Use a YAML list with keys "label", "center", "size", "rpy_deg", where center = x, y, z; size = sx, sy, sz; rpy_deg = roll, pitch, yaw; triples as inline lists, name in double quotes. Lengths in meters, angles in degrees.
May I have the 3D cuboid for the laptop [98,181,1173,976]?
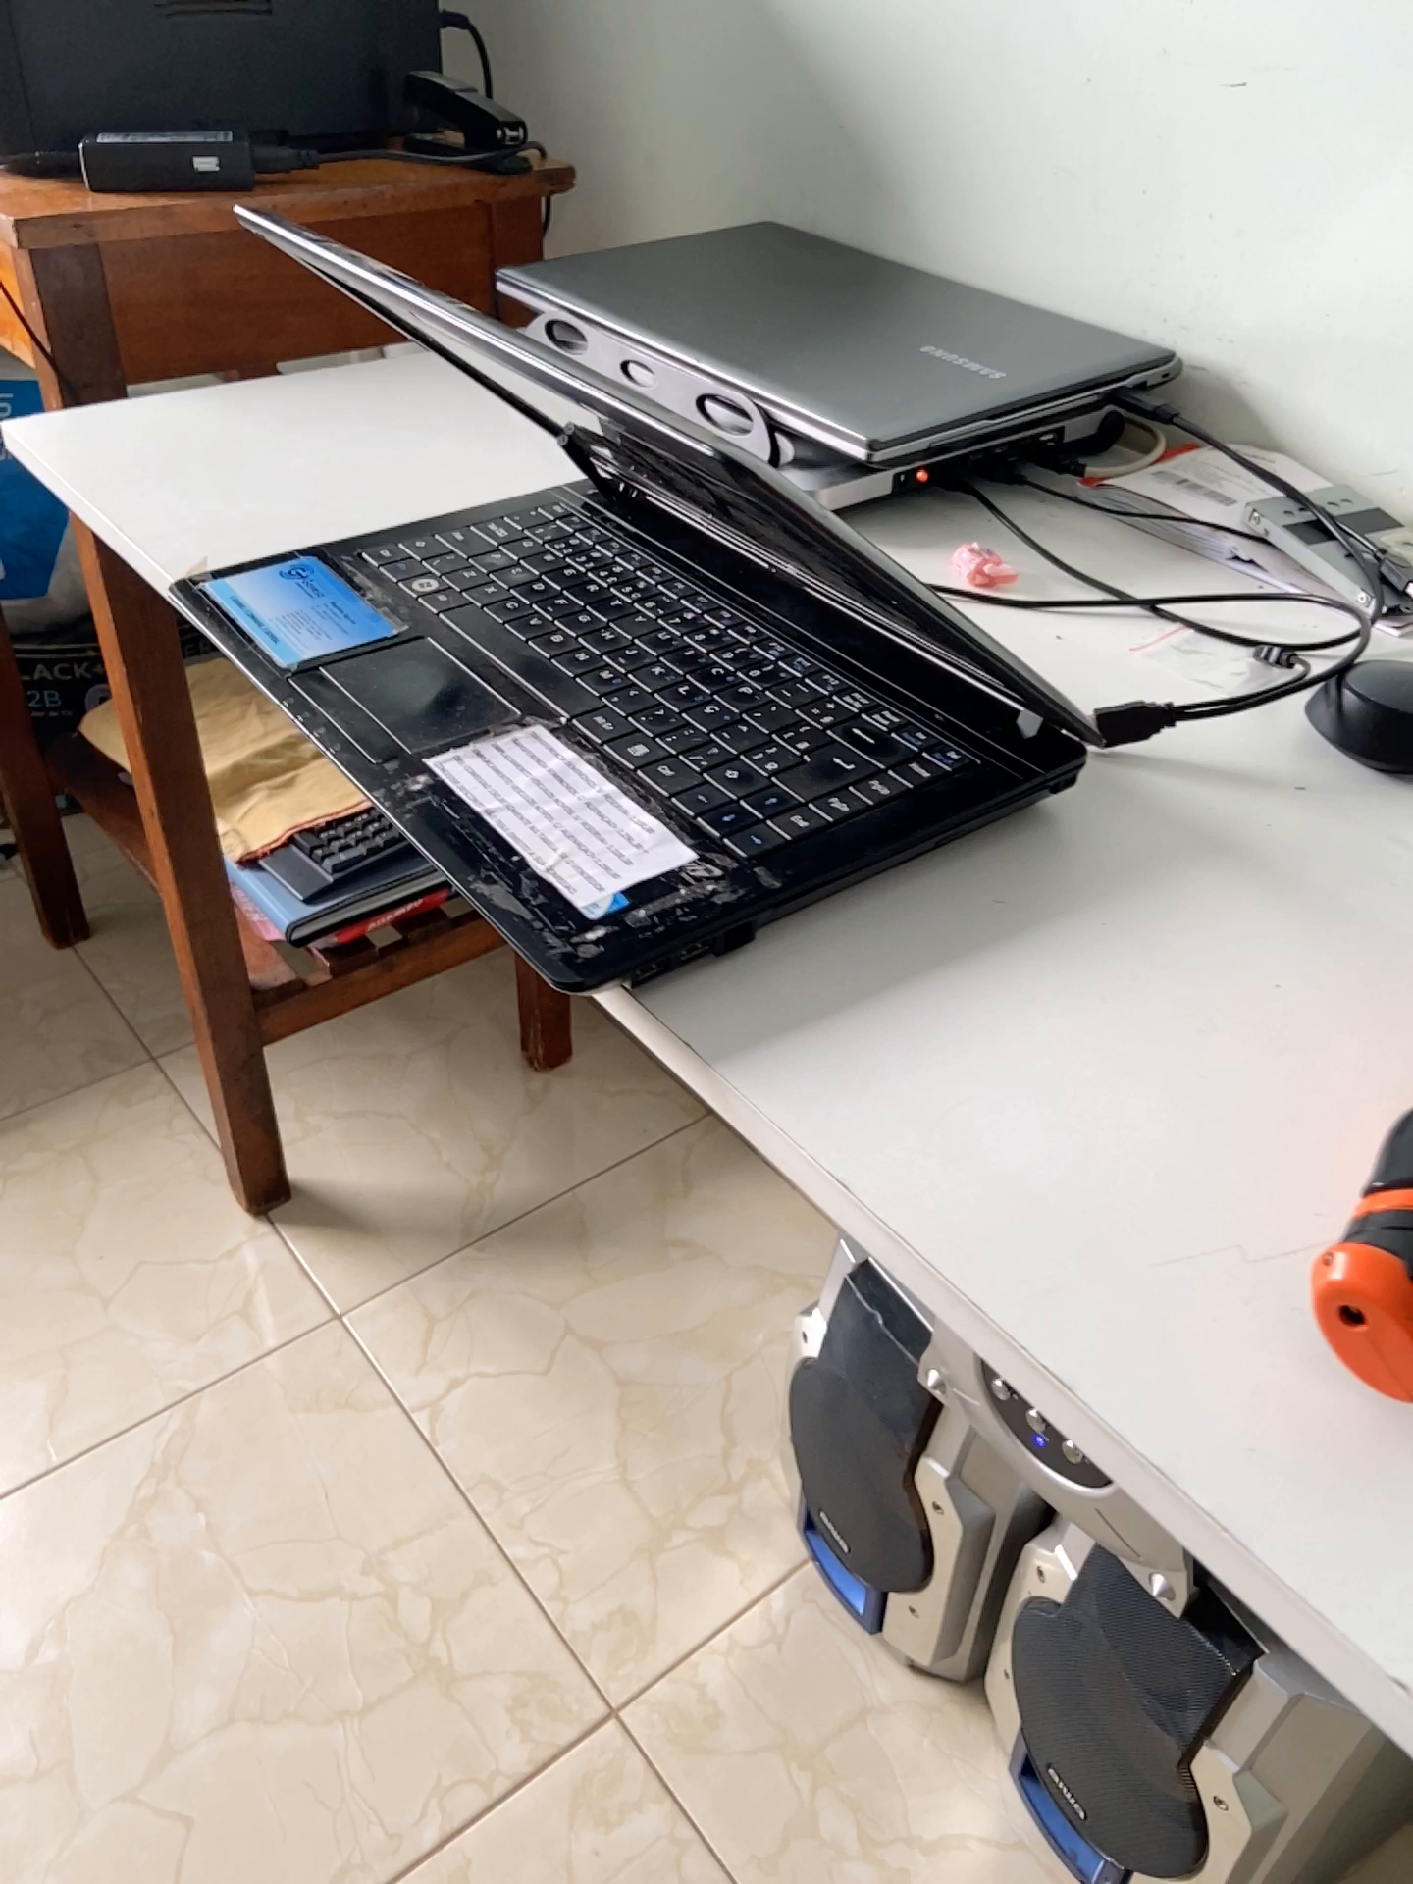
- label: "laptop"
  center: [-0.047, -0.170, 0.548]
  size: [0.228, 0.144, 0.336]
  rpy_deg: [-23, 43, -29]
